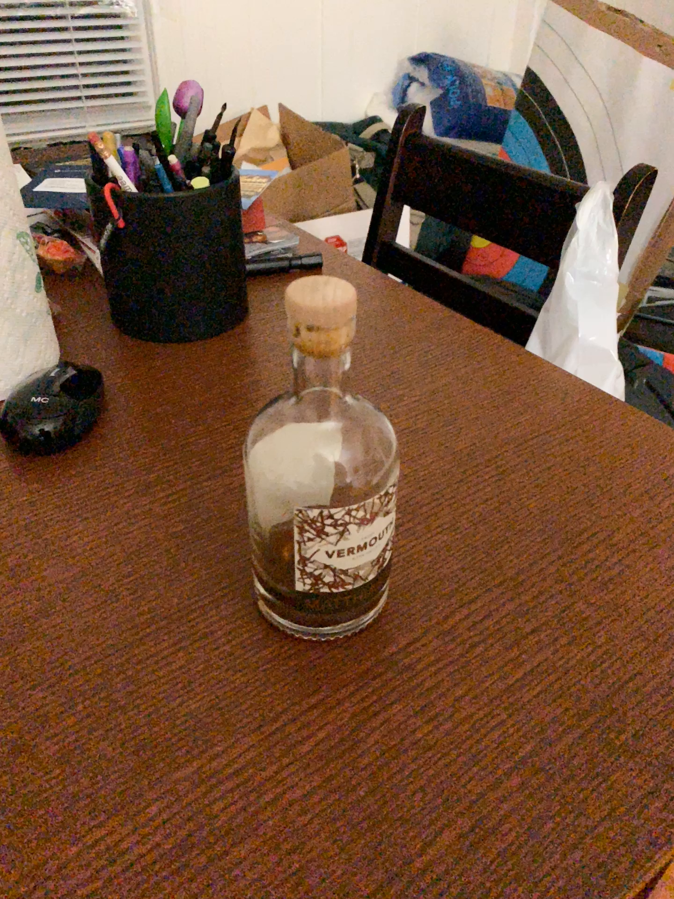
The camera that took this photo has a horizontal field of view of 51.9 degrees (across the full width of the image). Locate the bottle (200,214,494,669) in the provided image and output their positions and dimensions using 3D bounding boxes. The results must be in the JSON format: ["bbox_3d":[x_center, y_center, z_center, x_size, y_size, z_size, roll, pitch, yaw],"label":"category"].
[{"bbox_3d":[0.002,-0.001,0.339,0.090,0.189,0.080,-24,43,-30],"label":"bottle"}]
